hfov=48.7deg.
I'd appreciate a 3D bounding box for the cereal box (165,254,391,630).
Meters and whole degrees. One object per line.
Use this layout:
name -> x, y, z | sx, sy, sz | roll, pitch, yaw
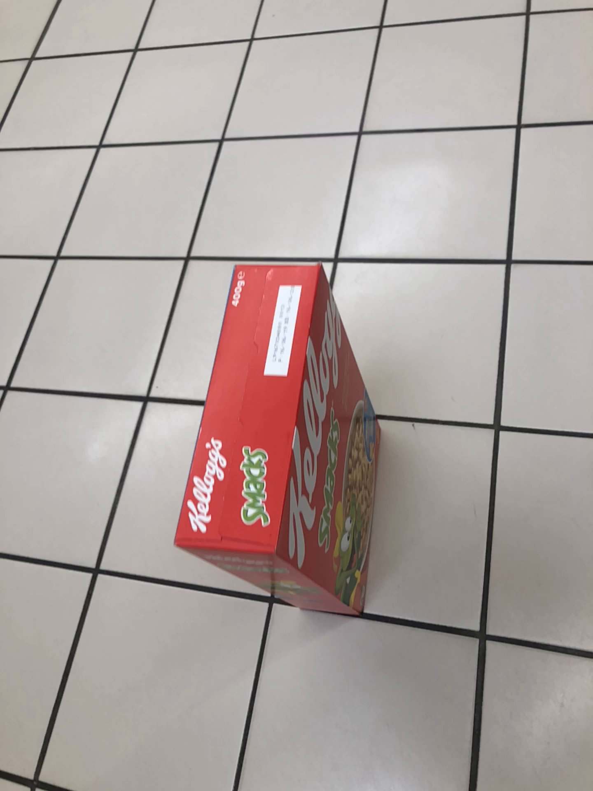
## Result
cereal box -> 0.013, 0.061, 0.519 | 0.080, 0.299, 0.201 | 2, 66, 15
